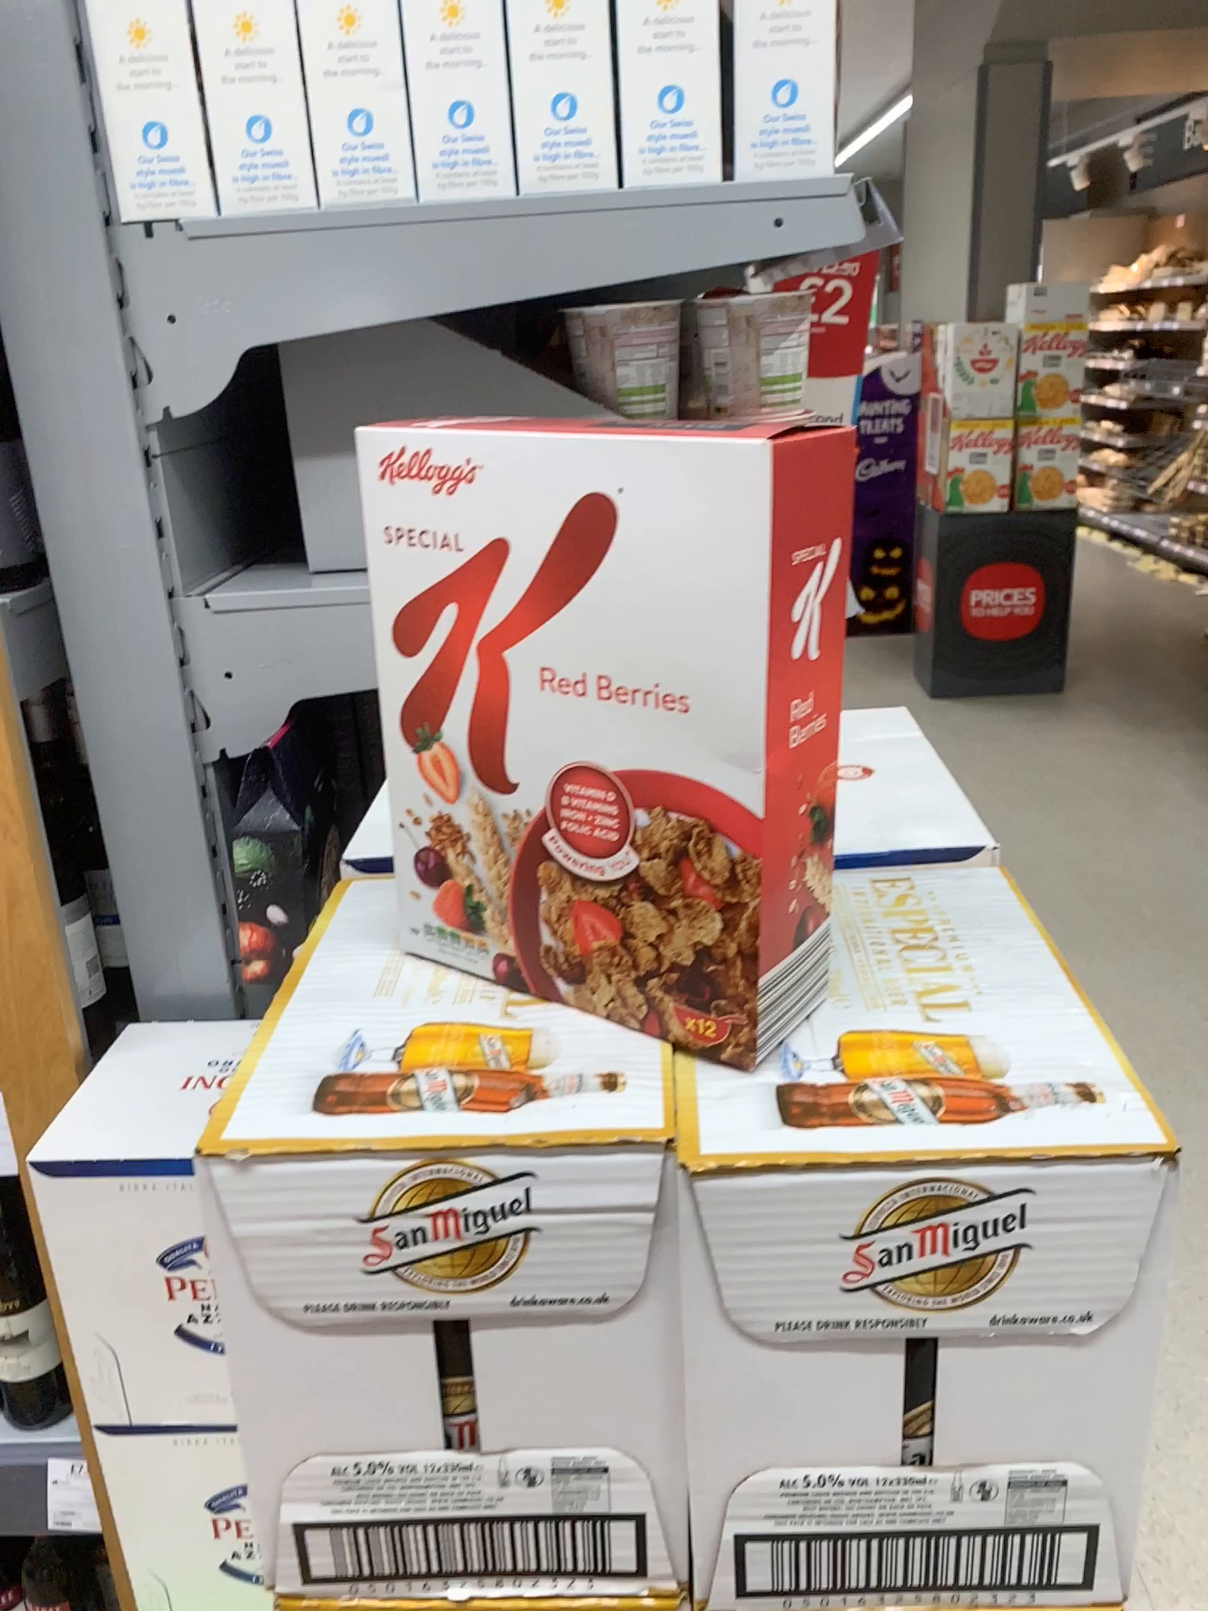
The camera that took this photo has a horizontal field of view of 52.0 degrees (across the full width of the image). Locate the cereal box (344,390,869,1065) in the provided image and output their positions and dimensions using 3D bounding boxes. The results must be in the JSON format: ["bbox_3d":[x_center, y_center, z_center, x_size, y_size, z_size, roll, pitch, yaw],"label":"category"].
[{"bbox_3d":[-0.002,-0.043,0.513,0.201,0.238,0.070,12,23,36],"label":"cereal box"}]
